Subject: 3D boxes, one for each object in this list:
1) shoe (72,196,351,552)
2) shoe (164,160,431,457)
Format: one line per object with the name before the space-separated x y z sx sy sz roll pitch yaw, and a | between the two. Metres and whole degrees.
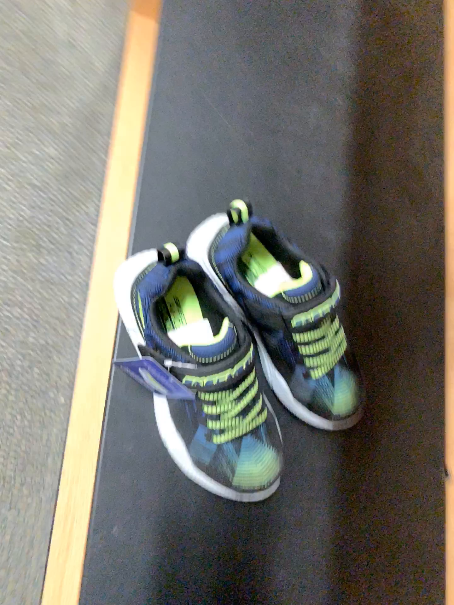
shoe | -0.019 0.051 0.365 0.098 0.100 0.220 -29 92 -22
shoe | 0.057 0.010 0.411 0.092 0.100 0.220 -37 95 -22
